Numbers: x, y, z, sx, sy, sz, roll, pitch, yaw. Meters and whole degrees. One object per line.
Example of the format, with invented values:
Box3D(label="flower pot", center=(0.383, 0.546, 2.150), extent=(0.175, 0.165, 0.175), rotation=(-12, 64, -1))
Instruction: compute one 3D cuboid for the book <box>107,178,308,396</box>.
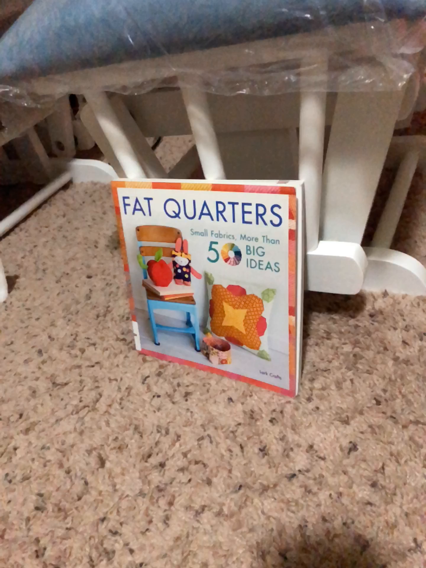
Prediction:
Box3D(label="book", center=(-0.008, -0.005, 0.473), extent=(0.208, 0.193, 0.030), rotation=(9, 23, 33))
